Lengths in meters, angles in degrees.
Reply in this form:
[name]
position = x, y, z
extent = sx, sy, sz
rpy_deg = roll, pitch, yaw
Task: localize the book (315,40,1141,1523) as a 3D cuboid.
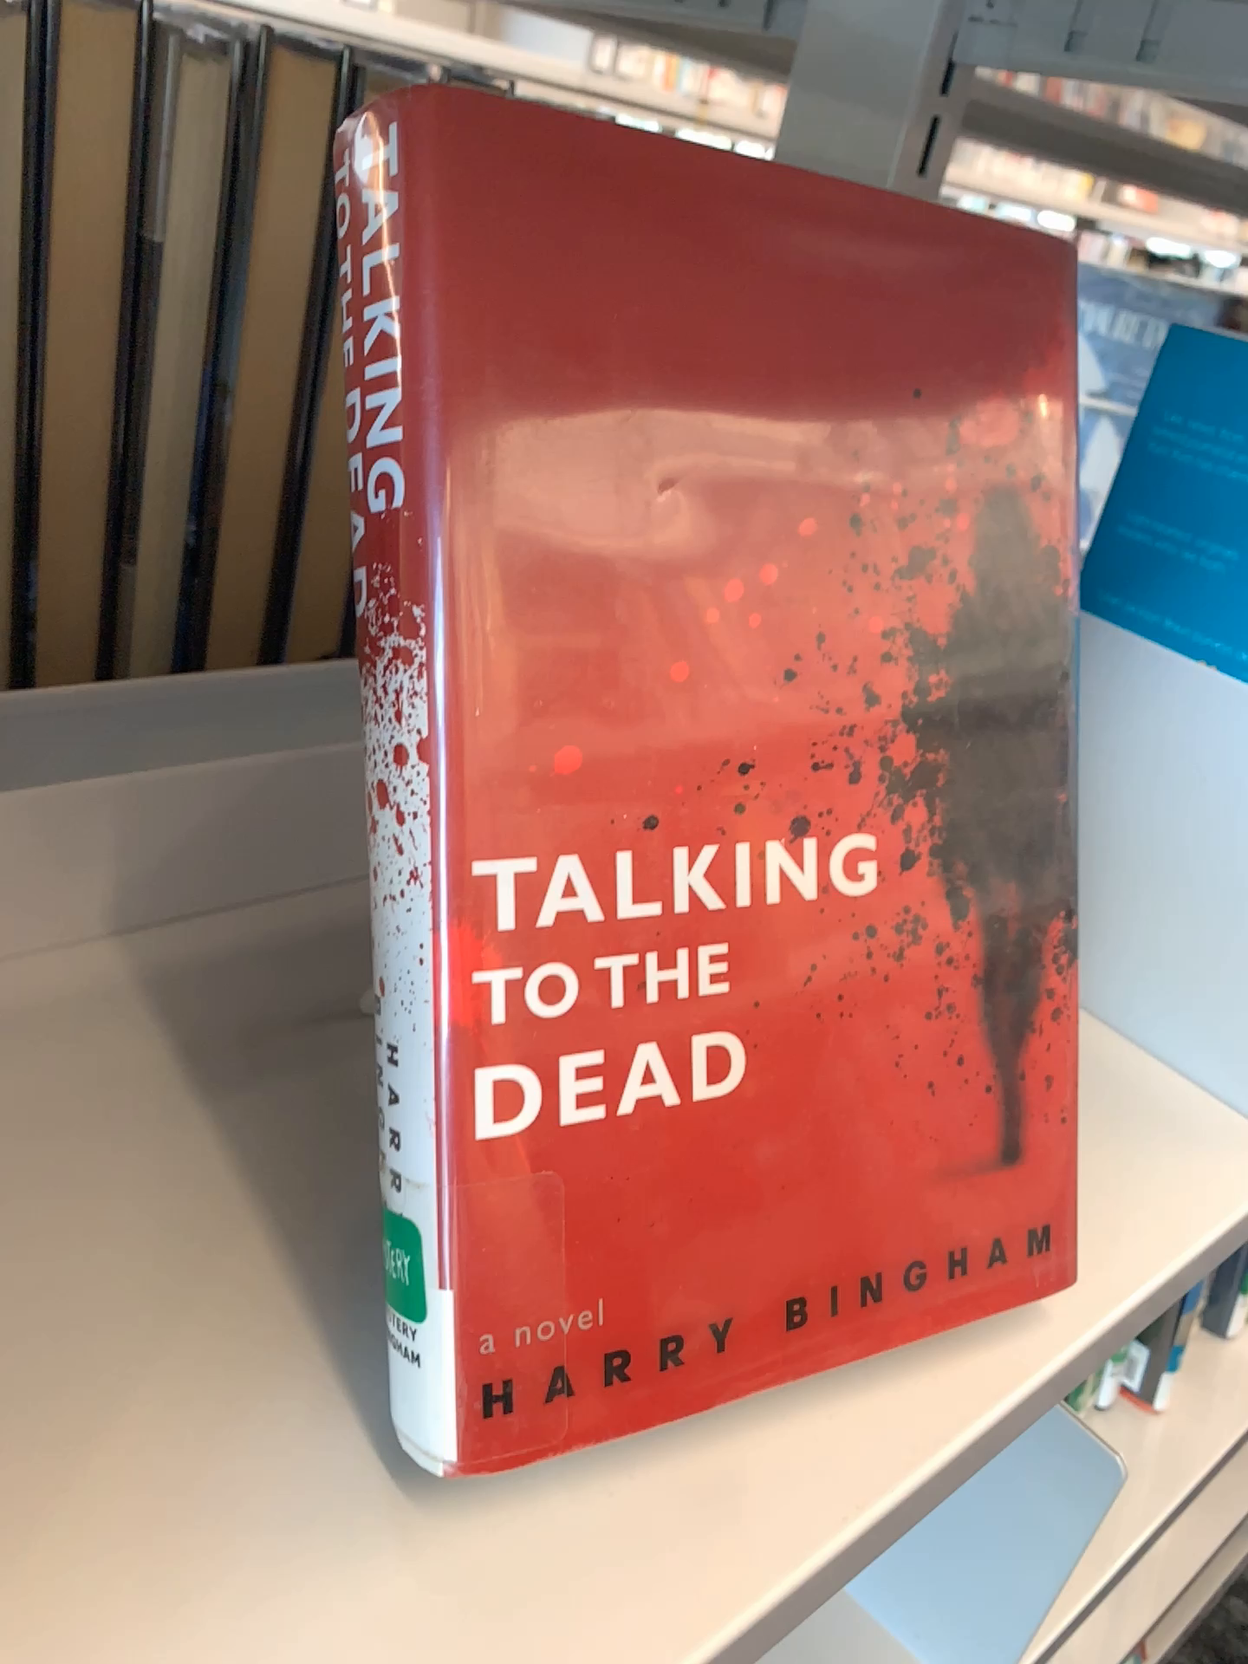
[book]
position = 0.030, -0.010, 0.259
extent = 0.164, 0.231, 0.040
rpy_deg = -4, 4, -29
